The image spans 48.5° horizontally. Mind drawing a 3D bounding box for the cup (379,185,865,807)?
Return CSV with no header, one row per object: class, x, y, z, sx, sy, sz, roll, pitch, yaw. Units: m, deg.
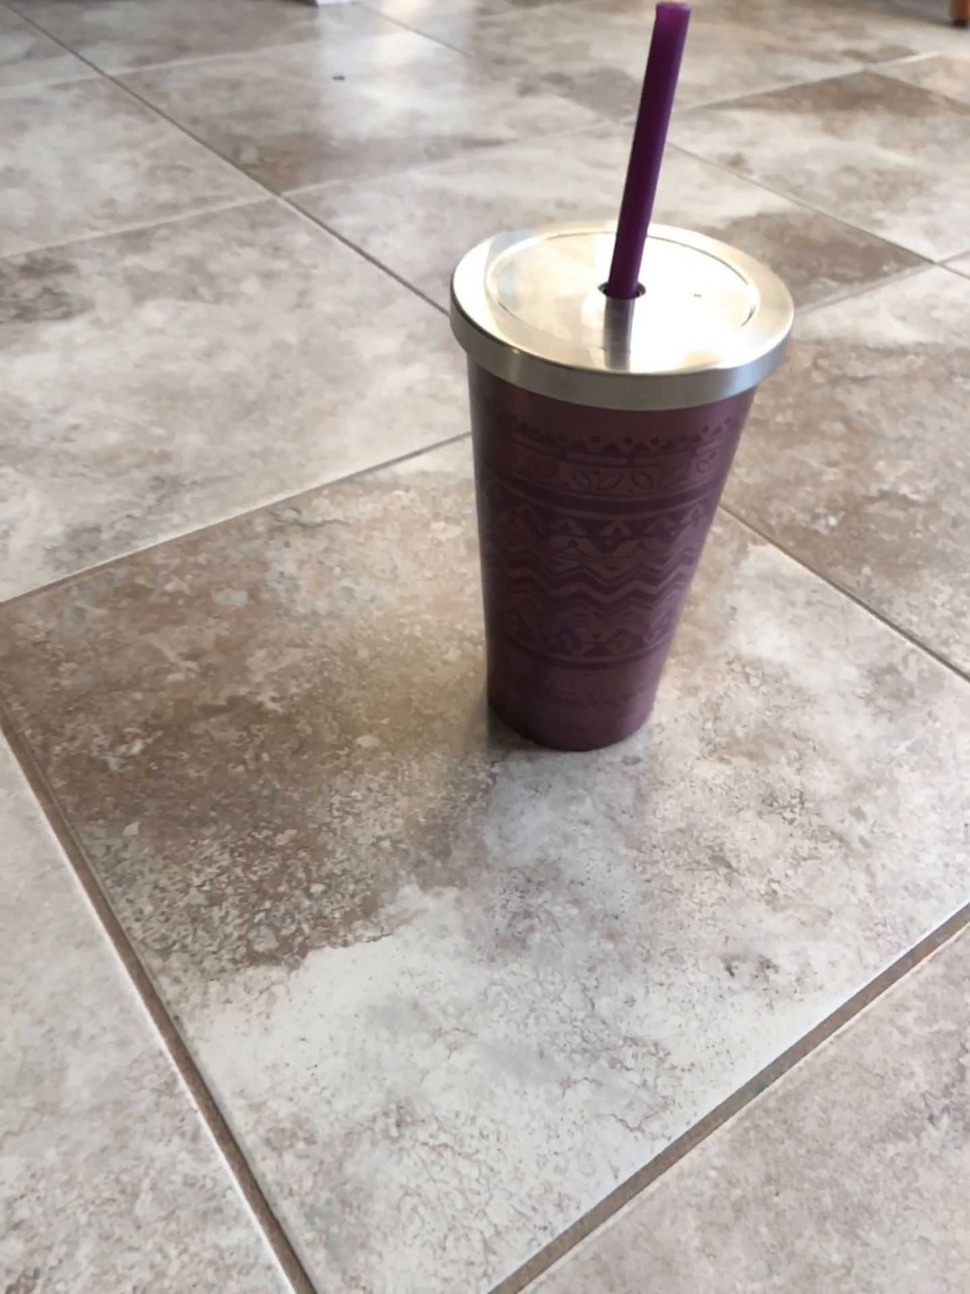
cup,0.040,-0.054,0.387,0.111,0.165,0.102,2,43,-1
